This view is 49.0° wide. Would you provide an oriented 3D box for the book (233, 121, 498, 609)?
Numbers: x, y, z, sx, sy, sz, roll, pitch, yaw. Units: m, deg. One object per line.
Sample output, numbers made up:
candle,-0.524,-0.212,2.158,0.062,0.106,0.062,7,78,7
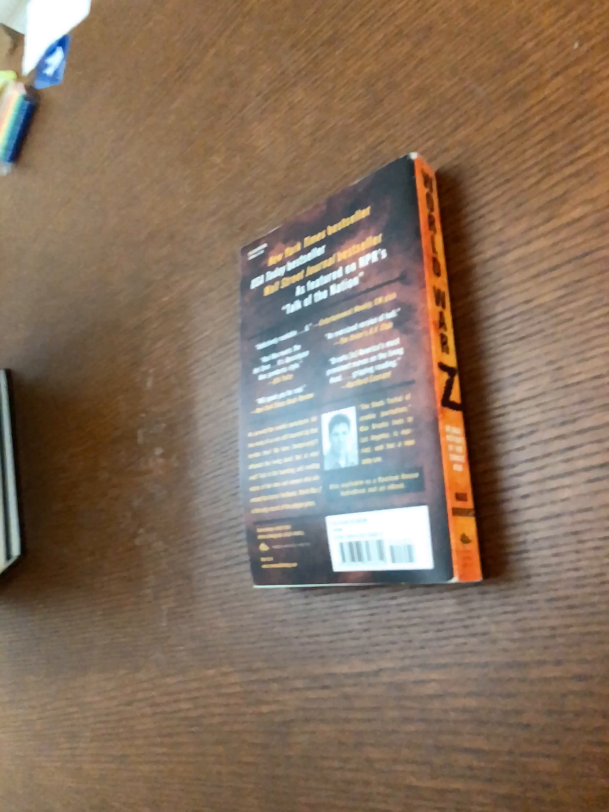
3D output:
book,0.019,-0.012,0.349,0.140,0.030,0.220,-15,72,44
